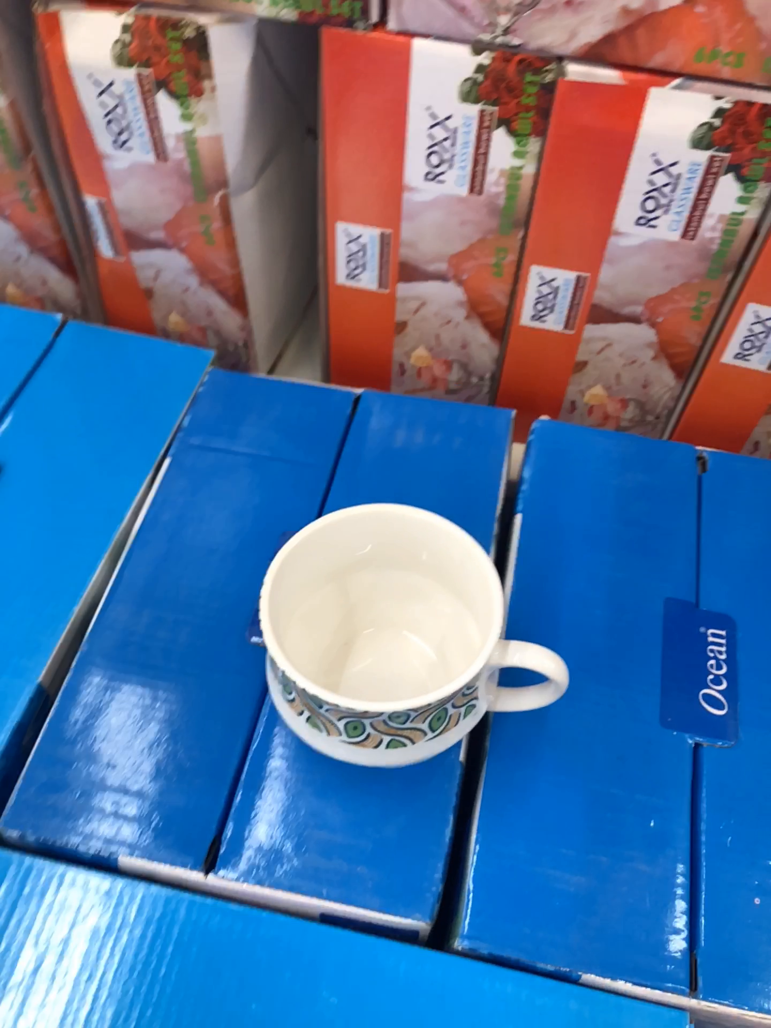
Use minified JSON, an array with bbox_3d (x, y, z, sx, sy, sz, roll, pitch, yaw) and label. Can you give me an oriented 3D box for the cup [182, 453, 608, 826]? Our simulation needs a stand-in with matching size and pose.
[{"bbox_3d":[0.005,0.036,0.248,0.100,0.060,0.070,10,55,4],"label":"cup"}]
